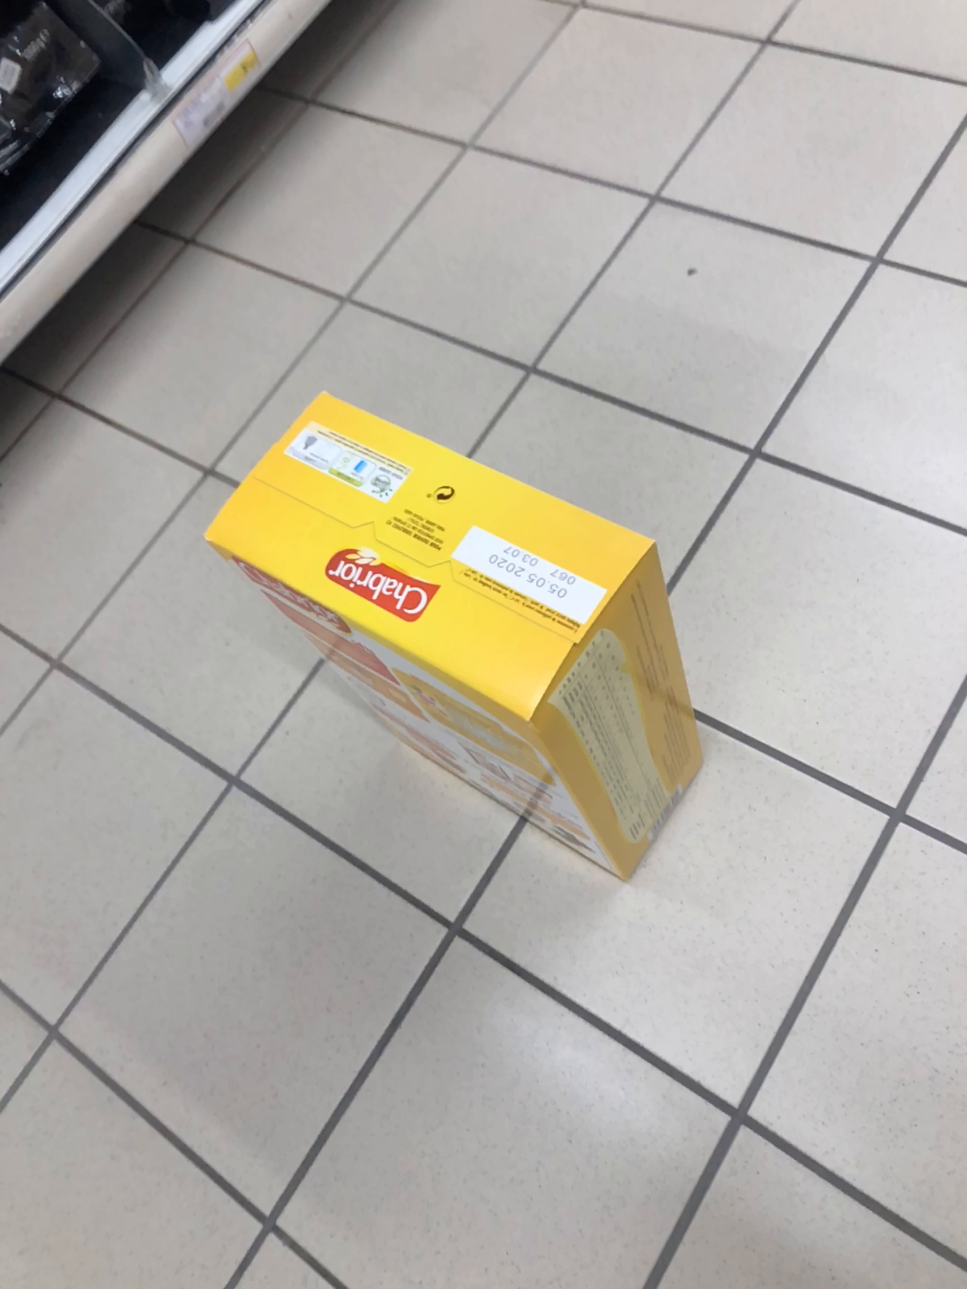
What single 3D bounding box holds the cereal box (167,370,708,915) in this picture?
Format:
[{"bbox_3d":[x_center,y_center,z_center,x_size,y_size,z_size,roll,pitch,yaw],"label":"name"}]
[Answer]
[{"bbox_3d":[0.000,0.018,0.610,0.210,0.309,0.110,29,75,25],"label":"cereal box"}]
